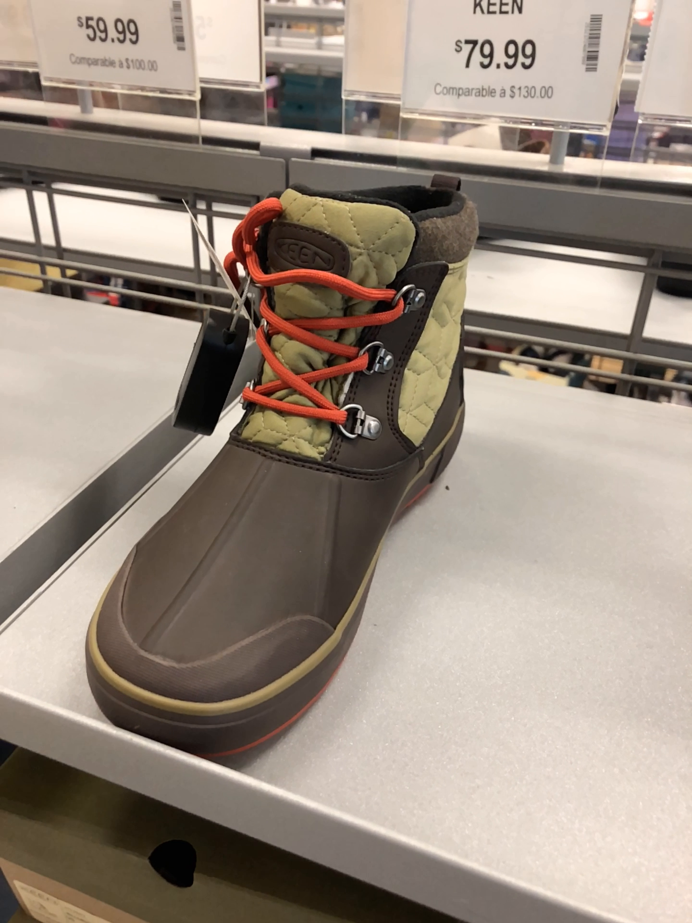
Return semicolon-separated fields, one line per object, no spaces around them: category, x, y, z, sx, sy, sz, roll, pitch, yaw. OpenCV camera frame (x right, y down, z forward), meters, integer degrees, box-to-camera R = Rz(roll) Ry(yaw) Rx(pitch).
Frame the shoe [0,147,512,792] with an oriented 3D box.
shoe;-0.021;-0.032;0.323;0.107;0.139;0.262;14;34;18
